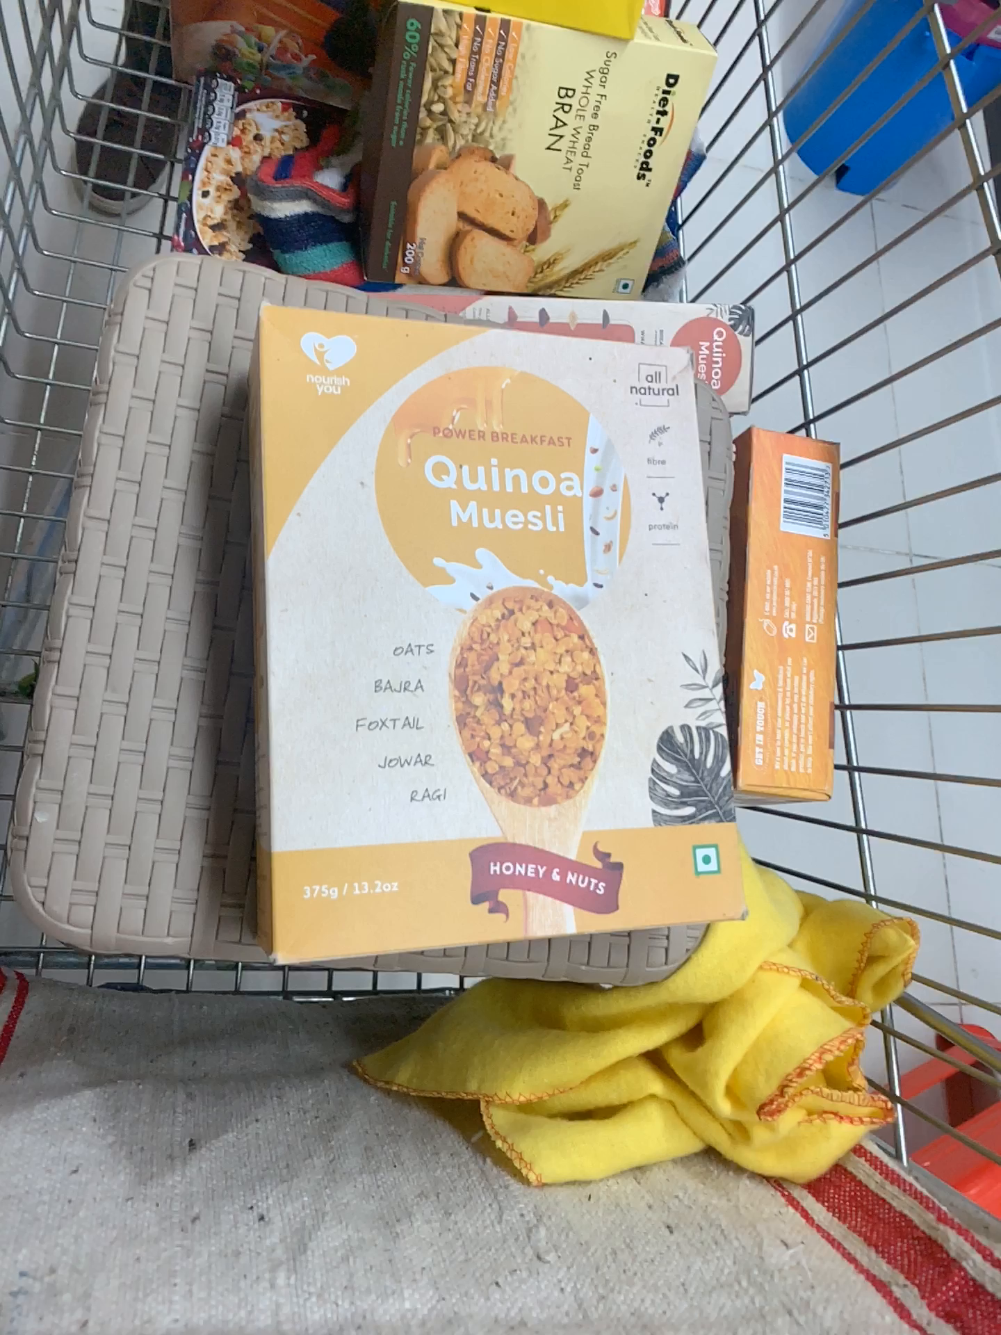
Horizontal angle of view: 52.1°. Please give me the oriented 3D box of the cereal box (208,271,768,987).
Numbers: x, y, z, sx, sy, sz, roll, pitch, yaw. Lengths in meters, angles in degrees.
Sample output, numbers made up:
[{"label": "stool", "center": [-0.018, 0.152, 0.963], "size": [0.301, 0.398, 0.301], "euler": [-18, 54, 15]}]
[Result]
[{"label": "cereal box", "center": [-0.012, -0.010, 0.342], "size": [0.160, 0.080, 0.200], "euler": [0, 80, -18]}]
